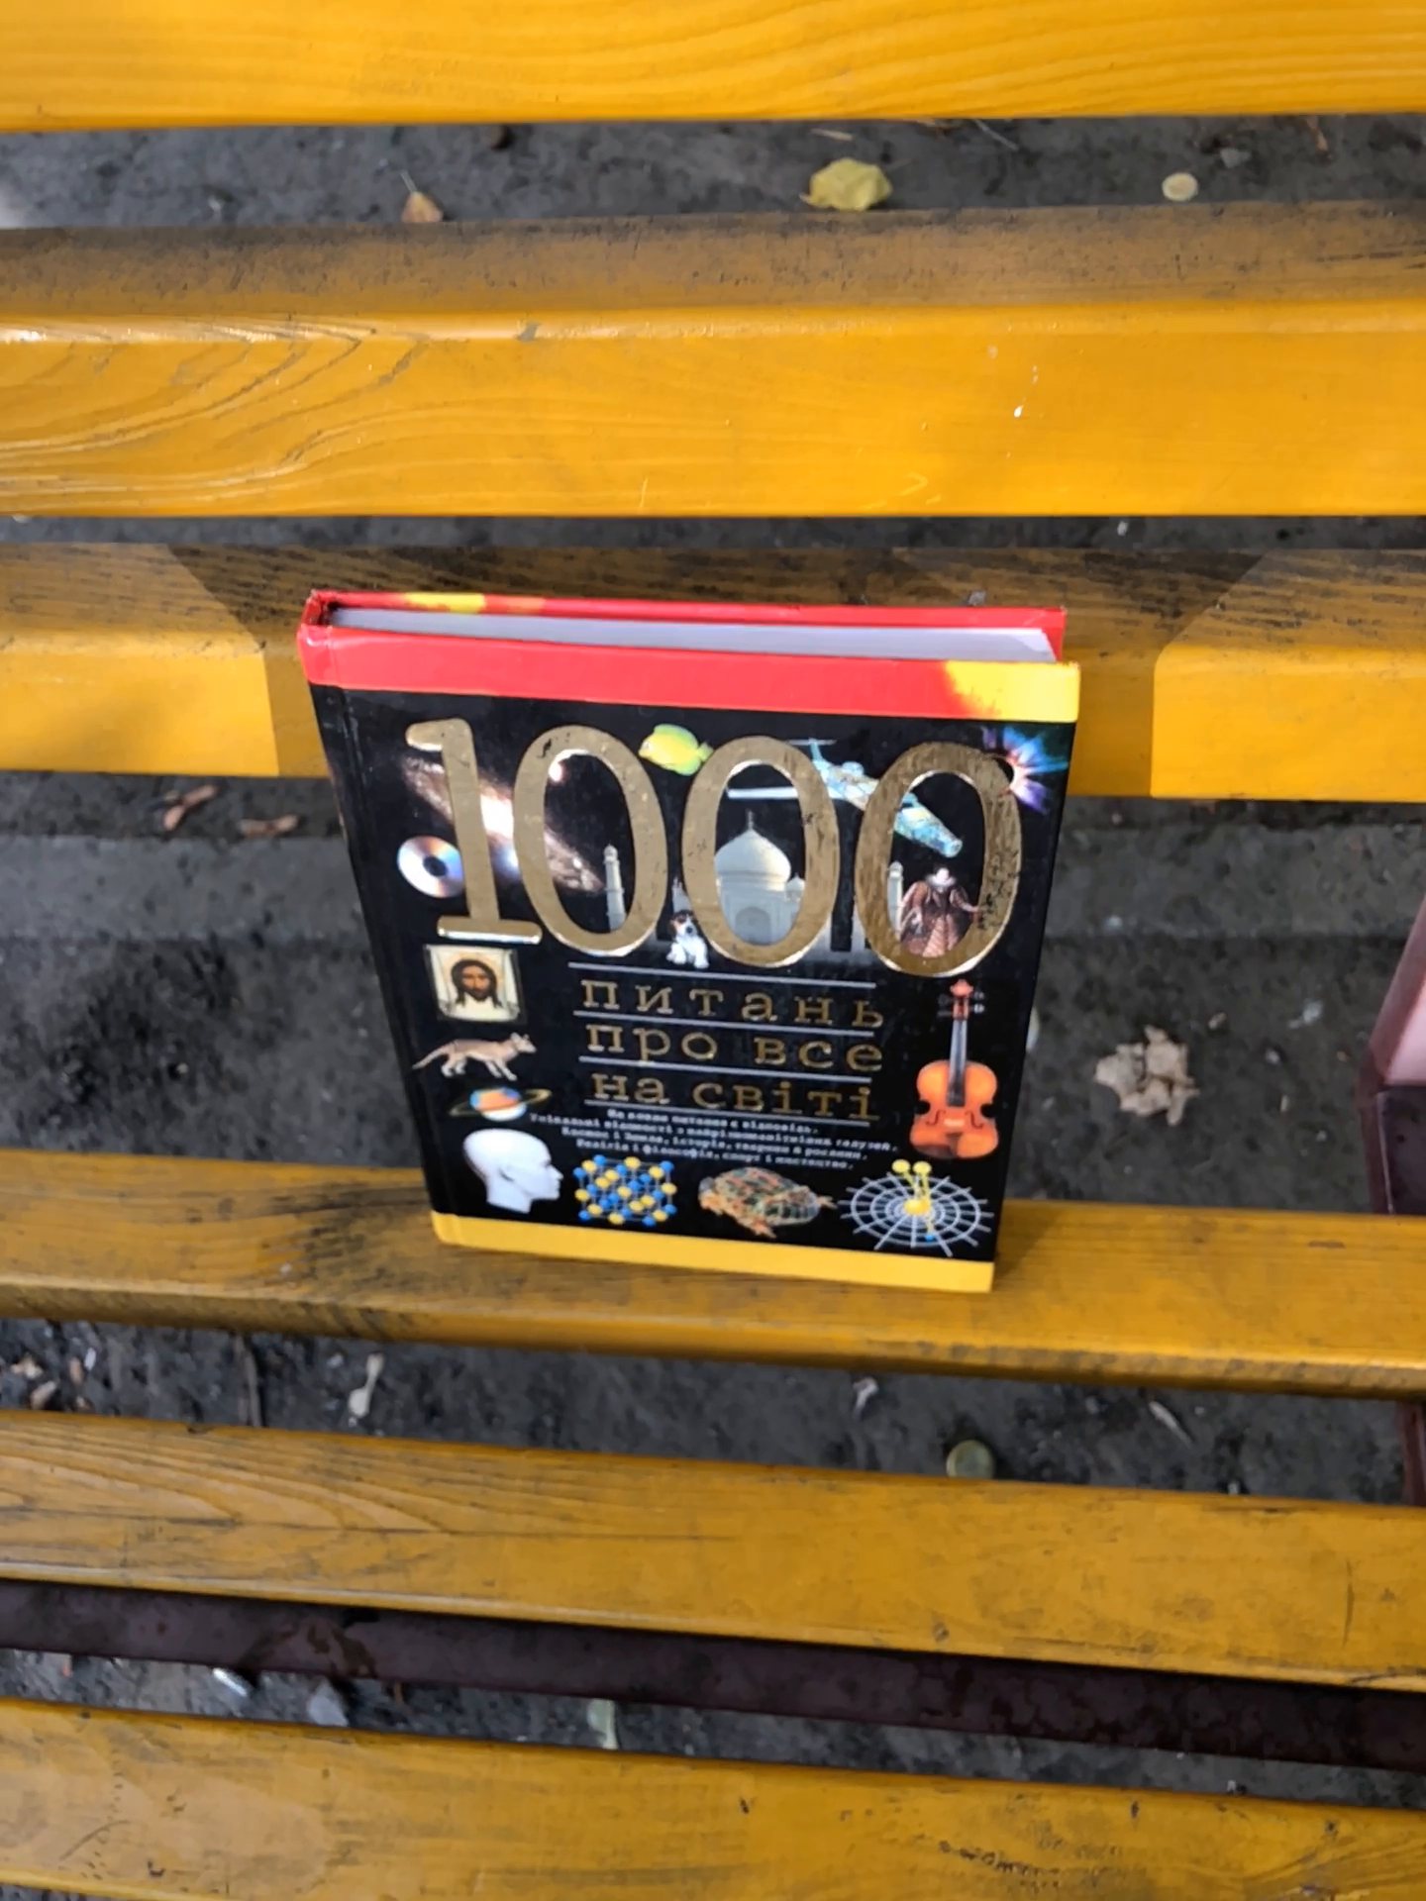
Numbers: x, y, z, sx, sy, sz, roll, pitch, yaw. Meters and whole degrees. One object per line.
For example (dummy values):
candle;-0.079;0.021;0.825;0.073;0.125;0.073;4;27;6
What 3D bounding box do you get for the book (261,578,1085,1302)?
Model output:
book;-0.005;0.007;0.403;0.172;0.201;0.032;4;41;7
